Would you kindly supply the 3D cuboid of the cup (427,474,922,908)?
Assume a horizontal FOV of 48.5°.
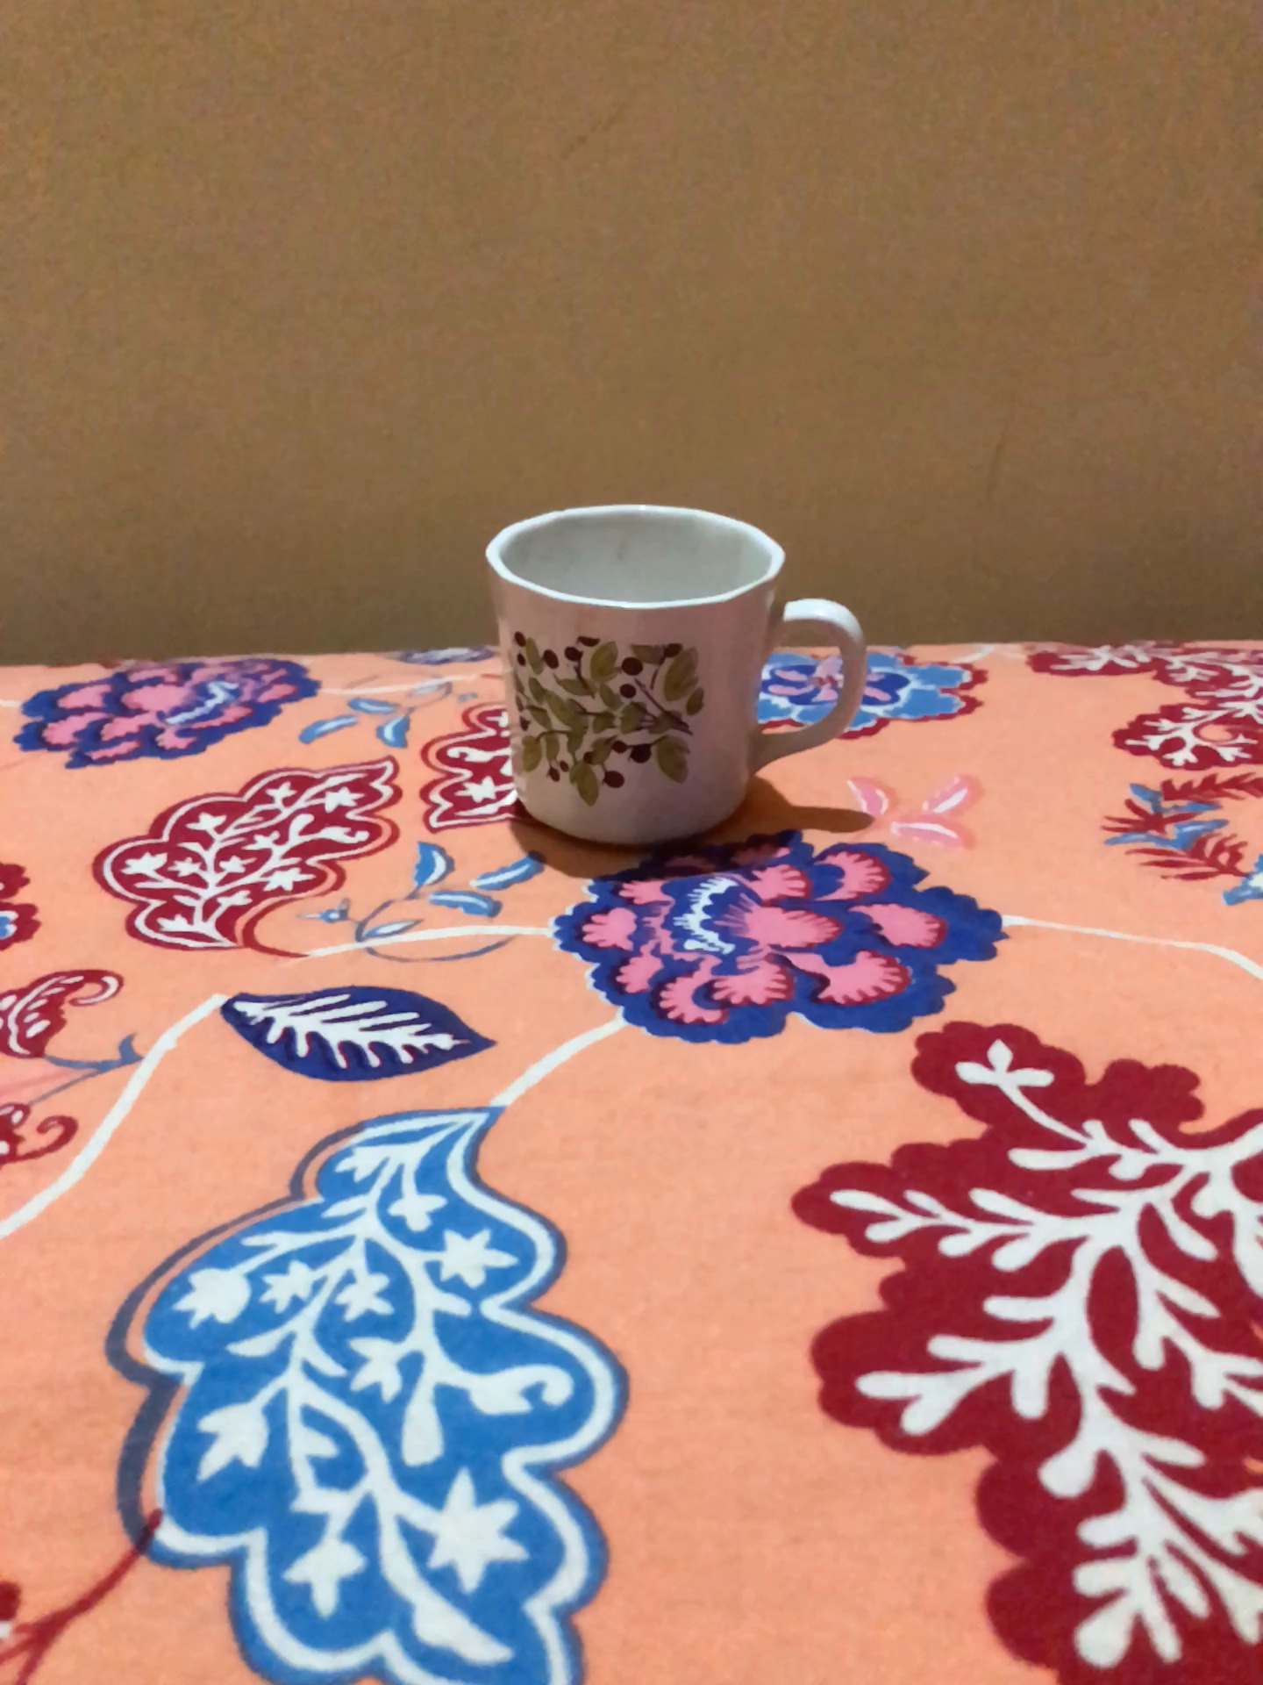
[{"bbox_3d":[0.013,-0.036,0.309,0.090,0.070,0.060,6,31,17],"label":"cup"}]
